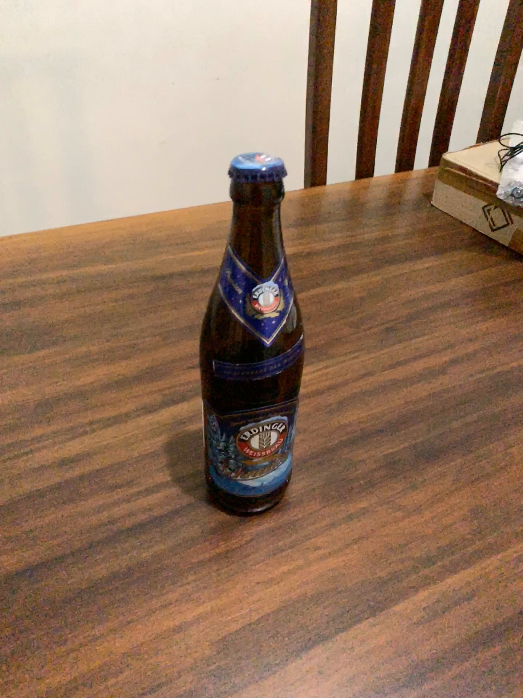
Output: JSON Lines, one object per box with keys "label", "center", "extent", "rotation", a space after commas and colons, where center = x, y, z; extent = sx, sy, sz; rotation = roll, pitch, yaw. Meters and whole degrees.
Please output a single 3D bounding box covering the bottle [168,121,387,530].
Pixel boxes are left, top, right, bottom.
{"label": "bottle", "center": [0.000, 0.003, 0.332], "extent": [0.080, 0.249, 0.070], "rotation": [-14, 45, -19]}
